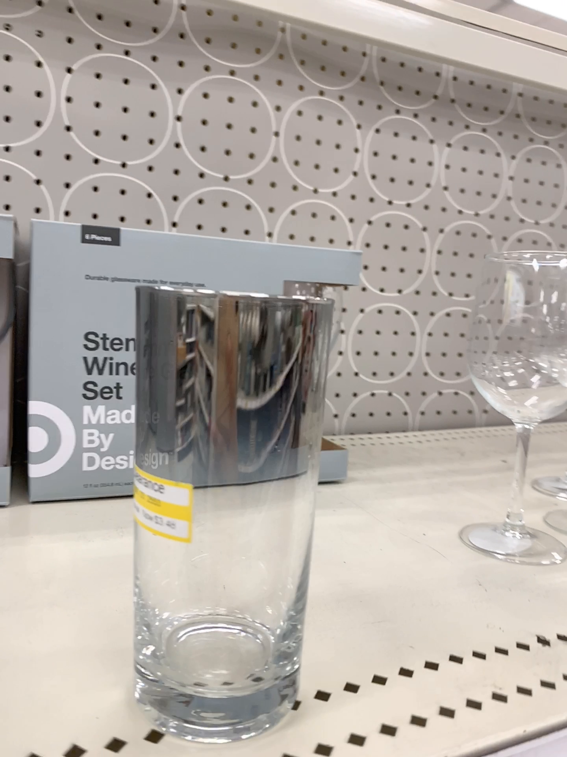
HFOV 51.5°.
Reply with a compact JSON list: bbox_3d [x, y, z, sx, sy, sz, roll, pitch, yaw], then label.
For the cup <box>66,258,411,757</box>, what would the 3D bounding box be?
[{"bbox_3d":[-0.018,0.038,0.206,0.080,0.150,0.080,4,8,0],"label":"cup"}]
